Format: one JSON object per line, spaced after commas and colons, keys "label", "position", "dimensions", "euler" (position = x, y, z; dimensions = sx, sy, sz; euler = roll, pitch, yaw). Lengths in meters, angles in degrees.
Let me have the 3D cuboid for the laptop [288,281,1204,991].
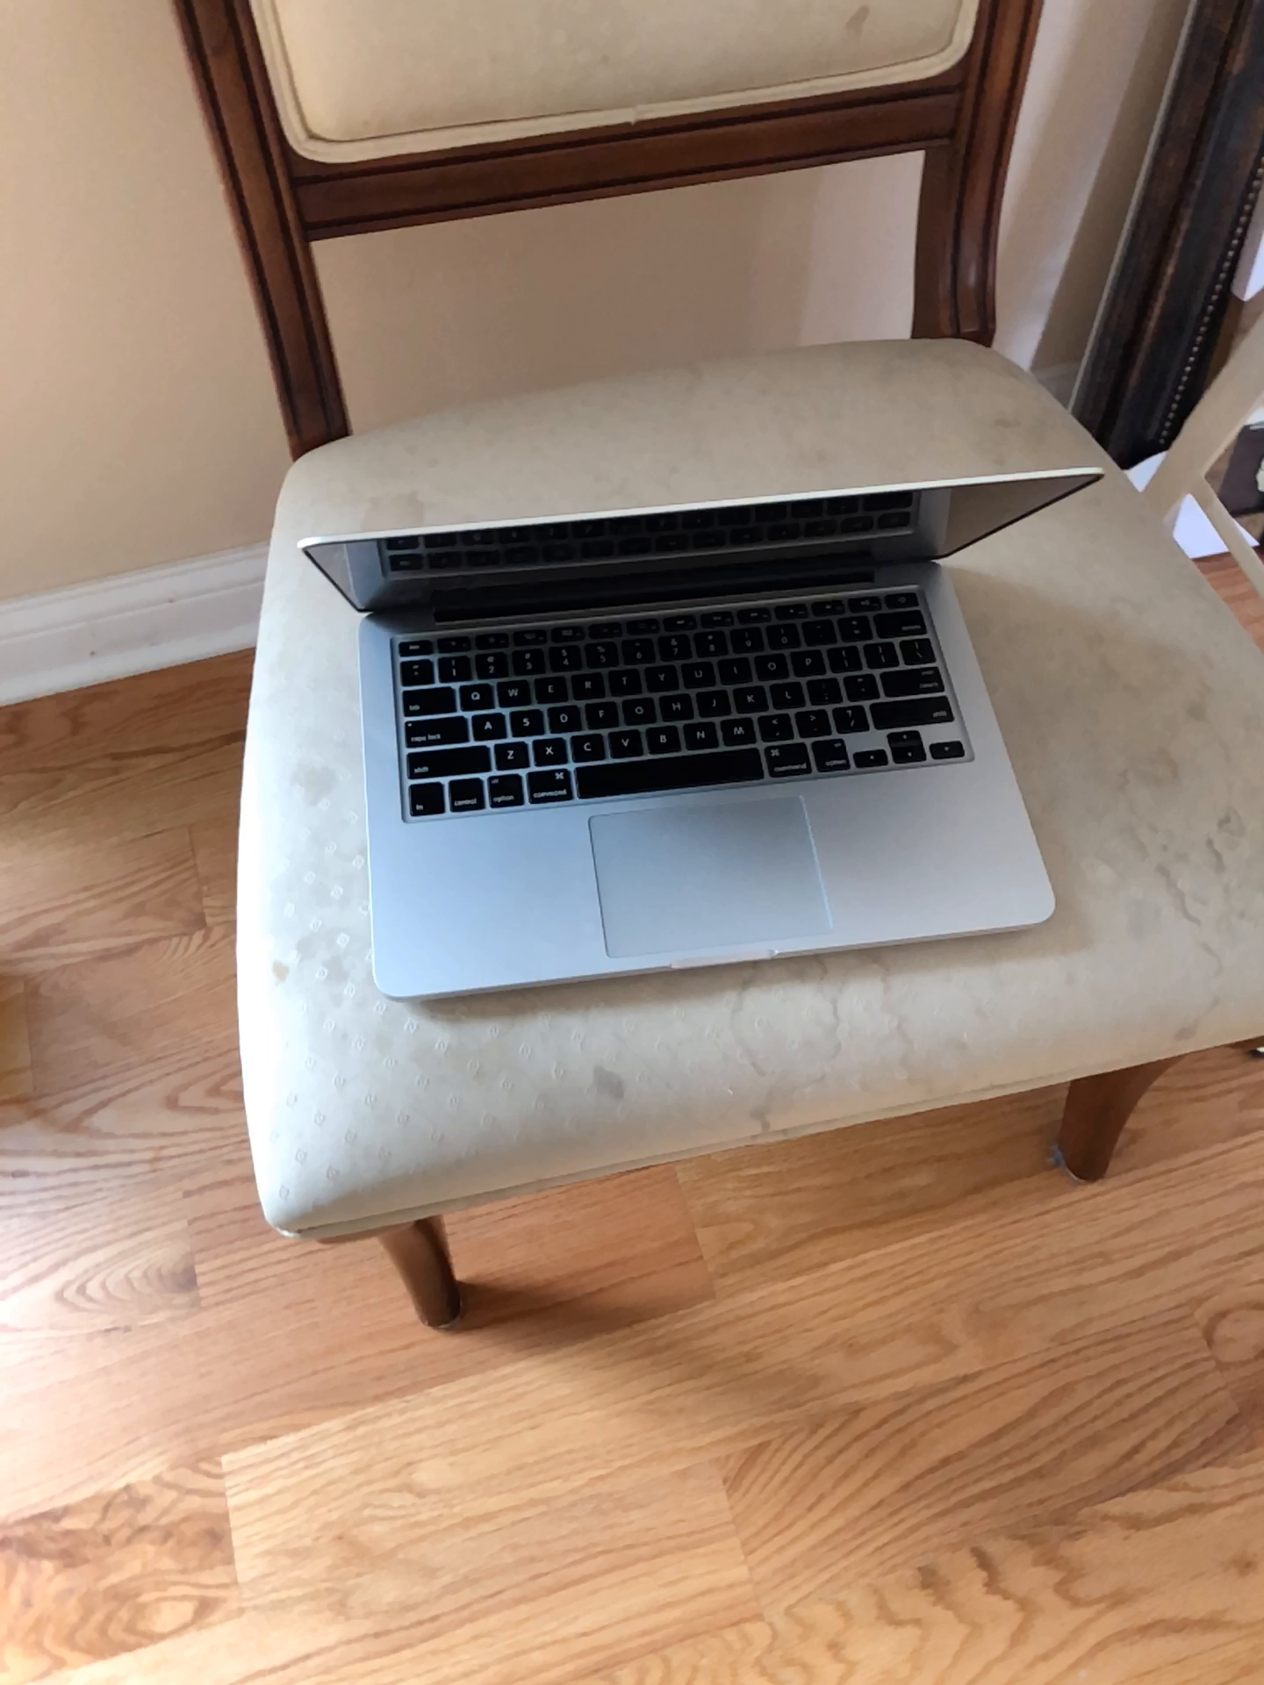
{"label": "laptop", "position": [0.027, -0.087, 0.606], "dimensions": [0.309, 0.183, 0.219], "euler": [-6, 60, -4]}
